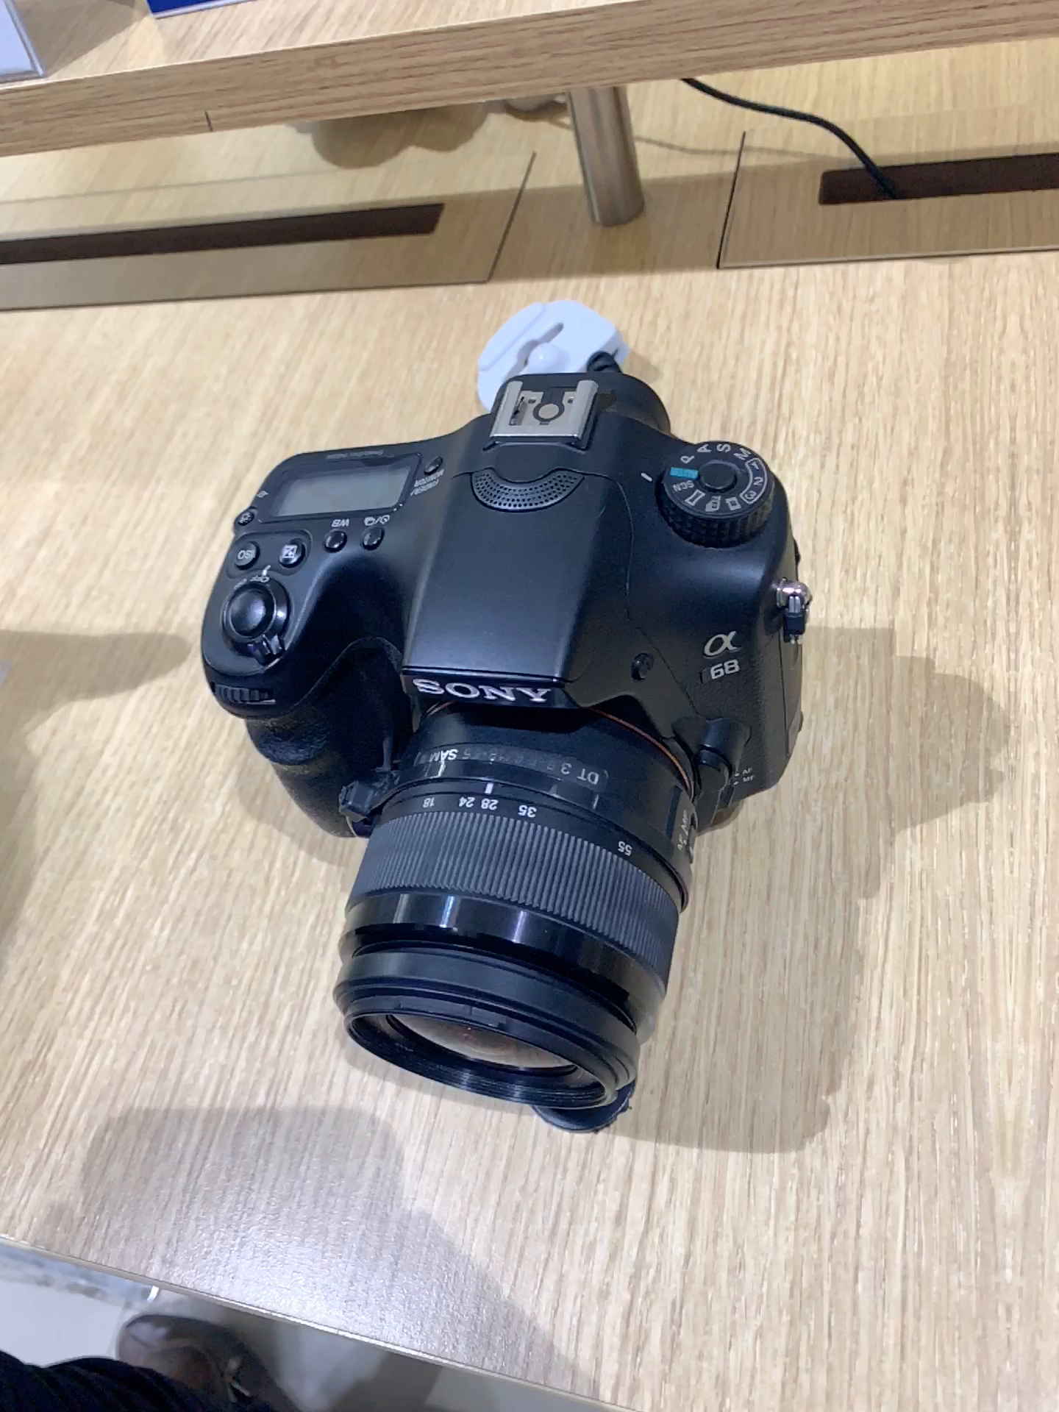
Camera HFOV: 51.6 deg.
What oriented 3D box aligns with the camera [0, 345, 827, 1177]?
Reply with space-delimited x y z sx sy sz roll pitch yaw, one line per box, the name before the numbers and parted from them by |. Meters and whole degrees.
camera | -0.007 0.011 0.239 0.130 0.100 0.134 2 58 18
